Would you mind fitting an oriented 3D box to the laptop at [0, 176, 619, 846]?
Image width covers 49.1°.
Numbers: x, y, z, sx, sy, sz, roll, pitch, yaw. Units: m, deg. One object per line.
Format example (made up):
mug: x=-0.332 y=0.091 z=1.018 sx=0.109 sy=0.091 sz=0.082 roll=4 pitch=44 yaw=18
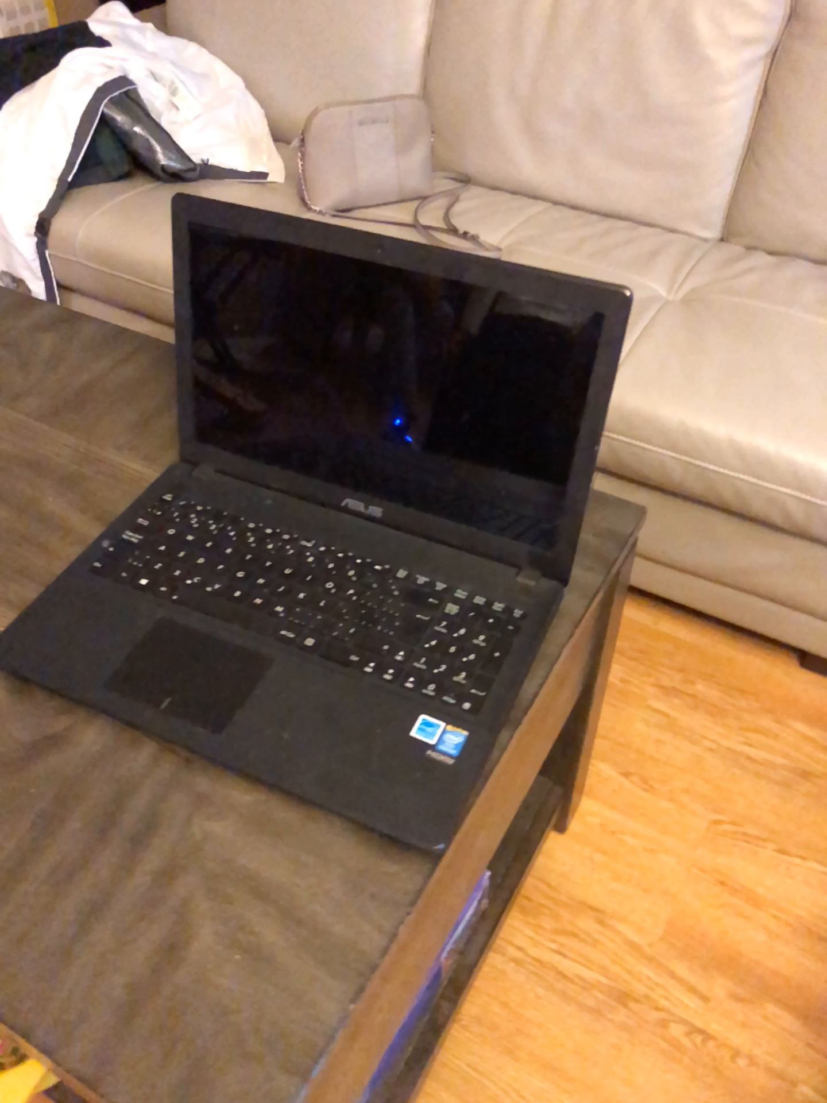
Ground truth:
laptop: x=-0.085 y=-0.057 z=0.639 sx=0.356 sy=0.216 sz=0.317 roll=18 pitch=49 yaw=17
